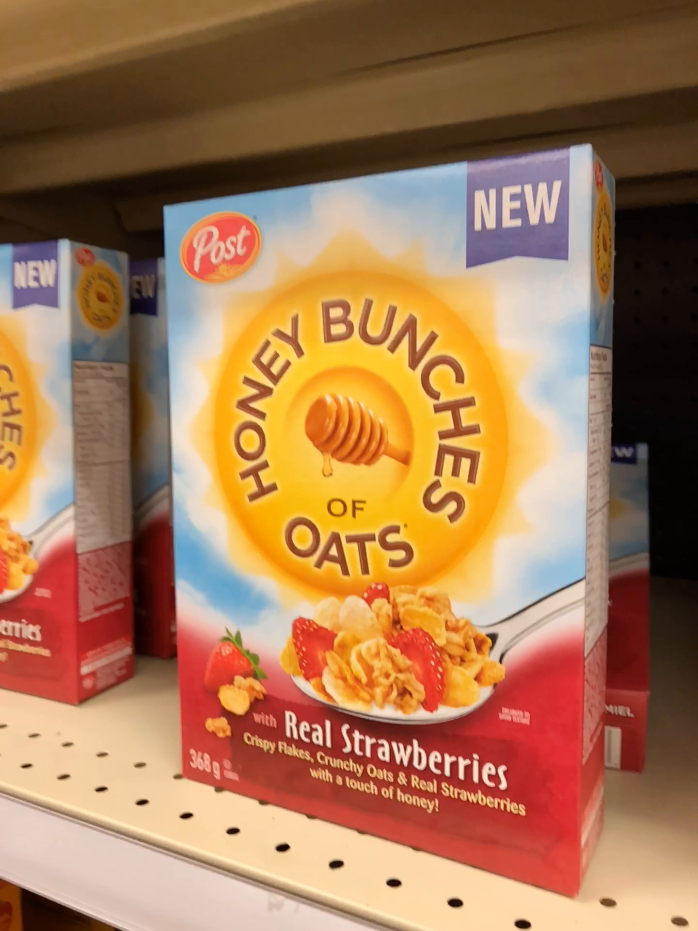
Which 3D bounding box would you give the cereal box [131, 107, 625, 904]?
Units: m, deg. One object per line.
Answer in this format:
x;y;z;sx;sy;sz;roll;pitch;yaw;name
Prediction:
0.004;0.013;0.328;0.200;0.270;0.050;3;7;29;cereal box
